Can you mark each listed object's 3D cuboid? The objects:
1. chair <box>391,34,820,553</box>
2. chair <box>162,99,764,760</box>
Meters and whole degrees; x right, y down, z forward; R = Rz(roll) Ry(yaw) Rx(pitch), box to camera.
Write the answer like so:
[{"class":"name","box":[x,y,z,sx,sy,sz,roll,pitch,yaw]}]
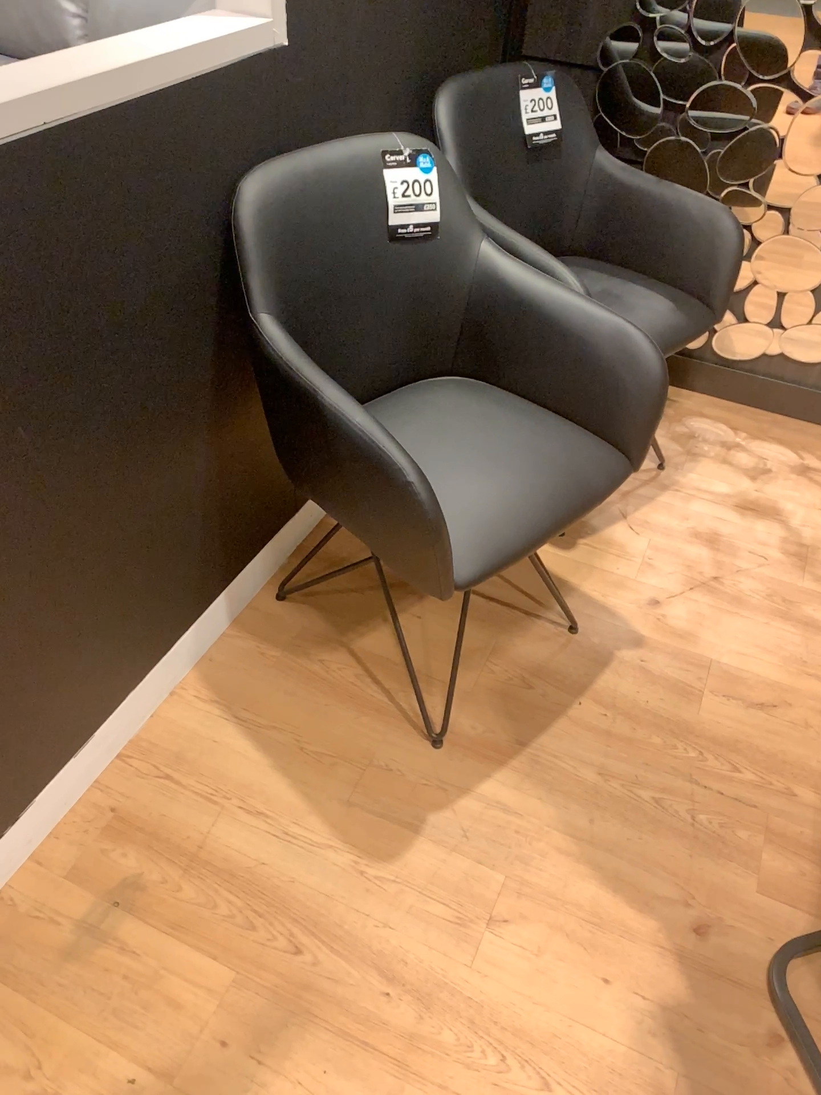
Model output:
[{"class":"chair","box":[0.377,-0.576,1.868,0.594,0.836,0.566,34,50,29]},{"class":"chair","box":[0.059,-0.223,1.432,0.606,0.776,0.594,-31,52,-32]}]
